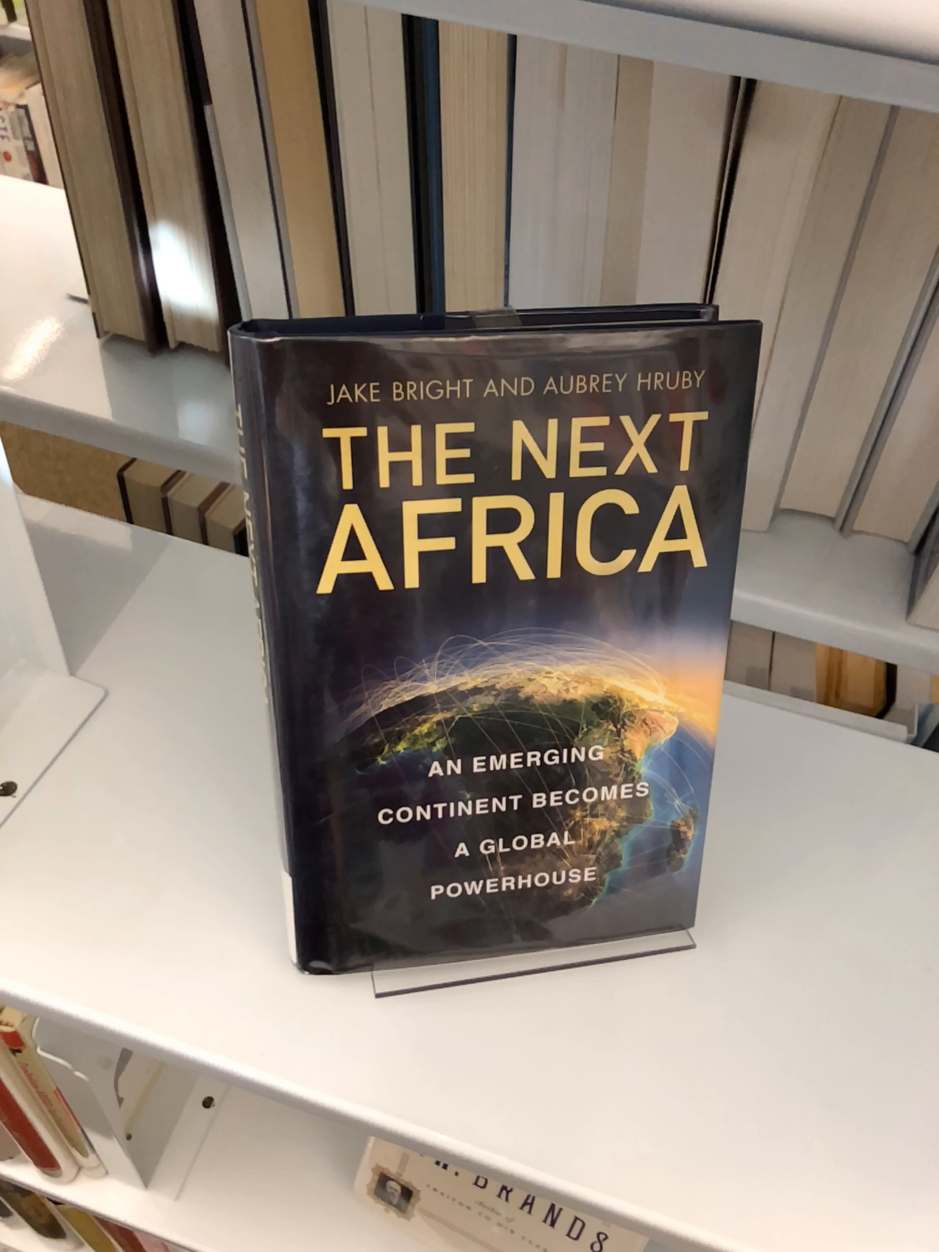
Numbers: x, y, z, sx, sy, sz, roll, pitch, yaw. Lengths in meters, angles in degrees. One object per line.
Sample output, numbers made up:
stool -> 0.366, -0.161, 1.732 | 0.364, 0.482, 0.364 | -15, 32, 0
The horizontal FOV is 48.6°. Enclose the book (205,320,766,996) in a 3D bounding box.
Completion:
book -> 0.005, 0.015, 0.333 | 0.153, 0.211, 0.030 | -4, 24, -10
